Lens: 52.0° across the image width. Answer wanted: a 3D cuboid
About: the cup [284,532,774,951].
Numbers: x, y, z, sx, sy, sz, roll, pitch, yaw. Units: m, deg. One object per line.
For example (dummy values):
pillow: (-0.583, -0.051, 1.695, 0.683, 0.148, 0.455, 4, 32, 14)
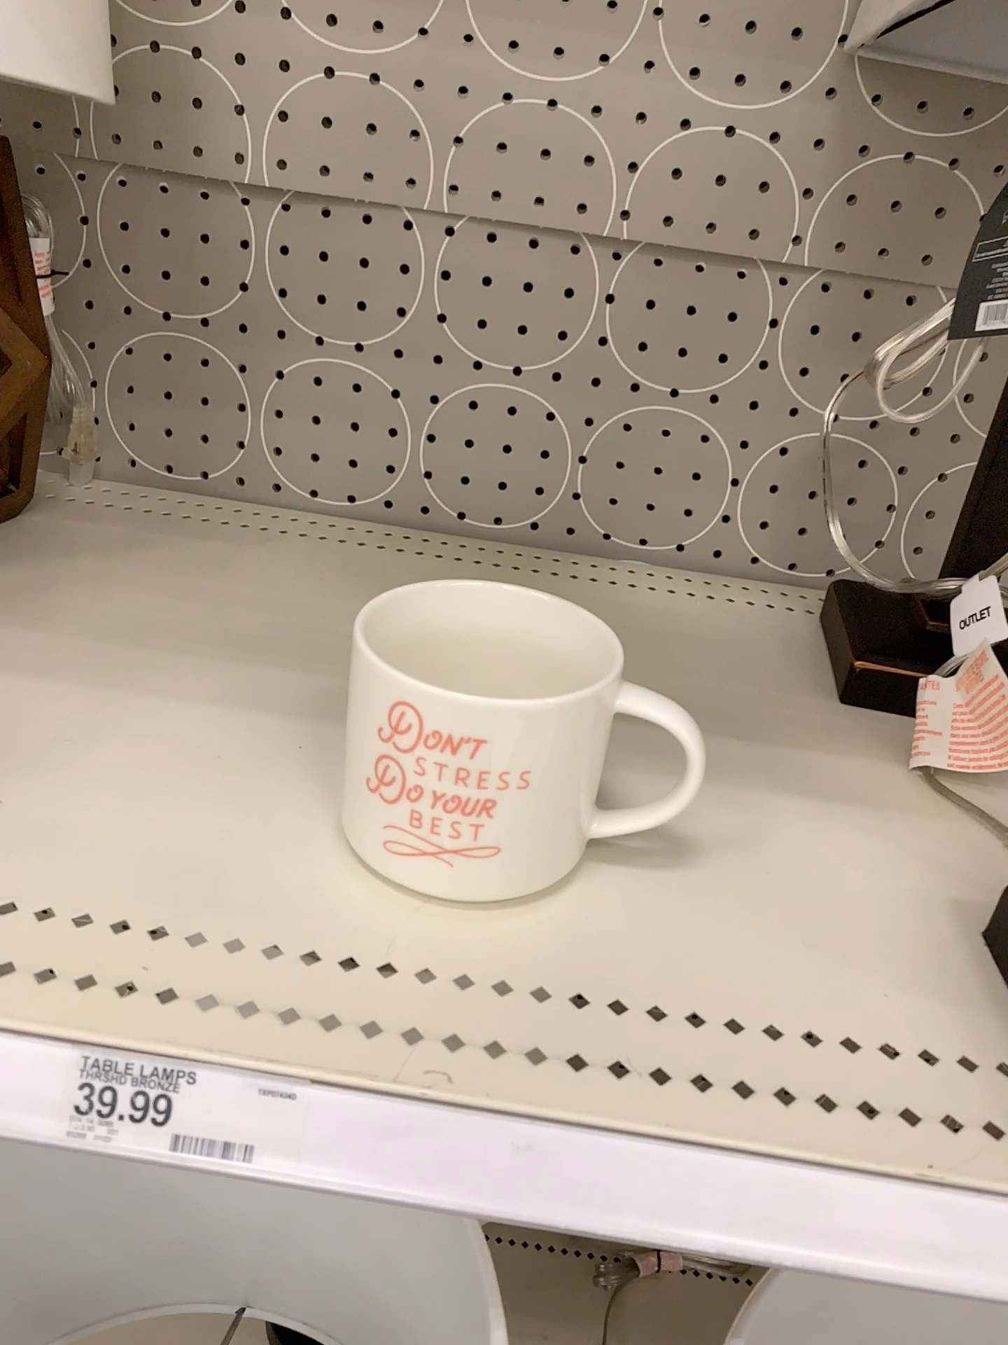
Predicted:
cup: (0.008, 0.020, 0.381, 0.150, 0.090, 0.101, 10, 29, 3)
